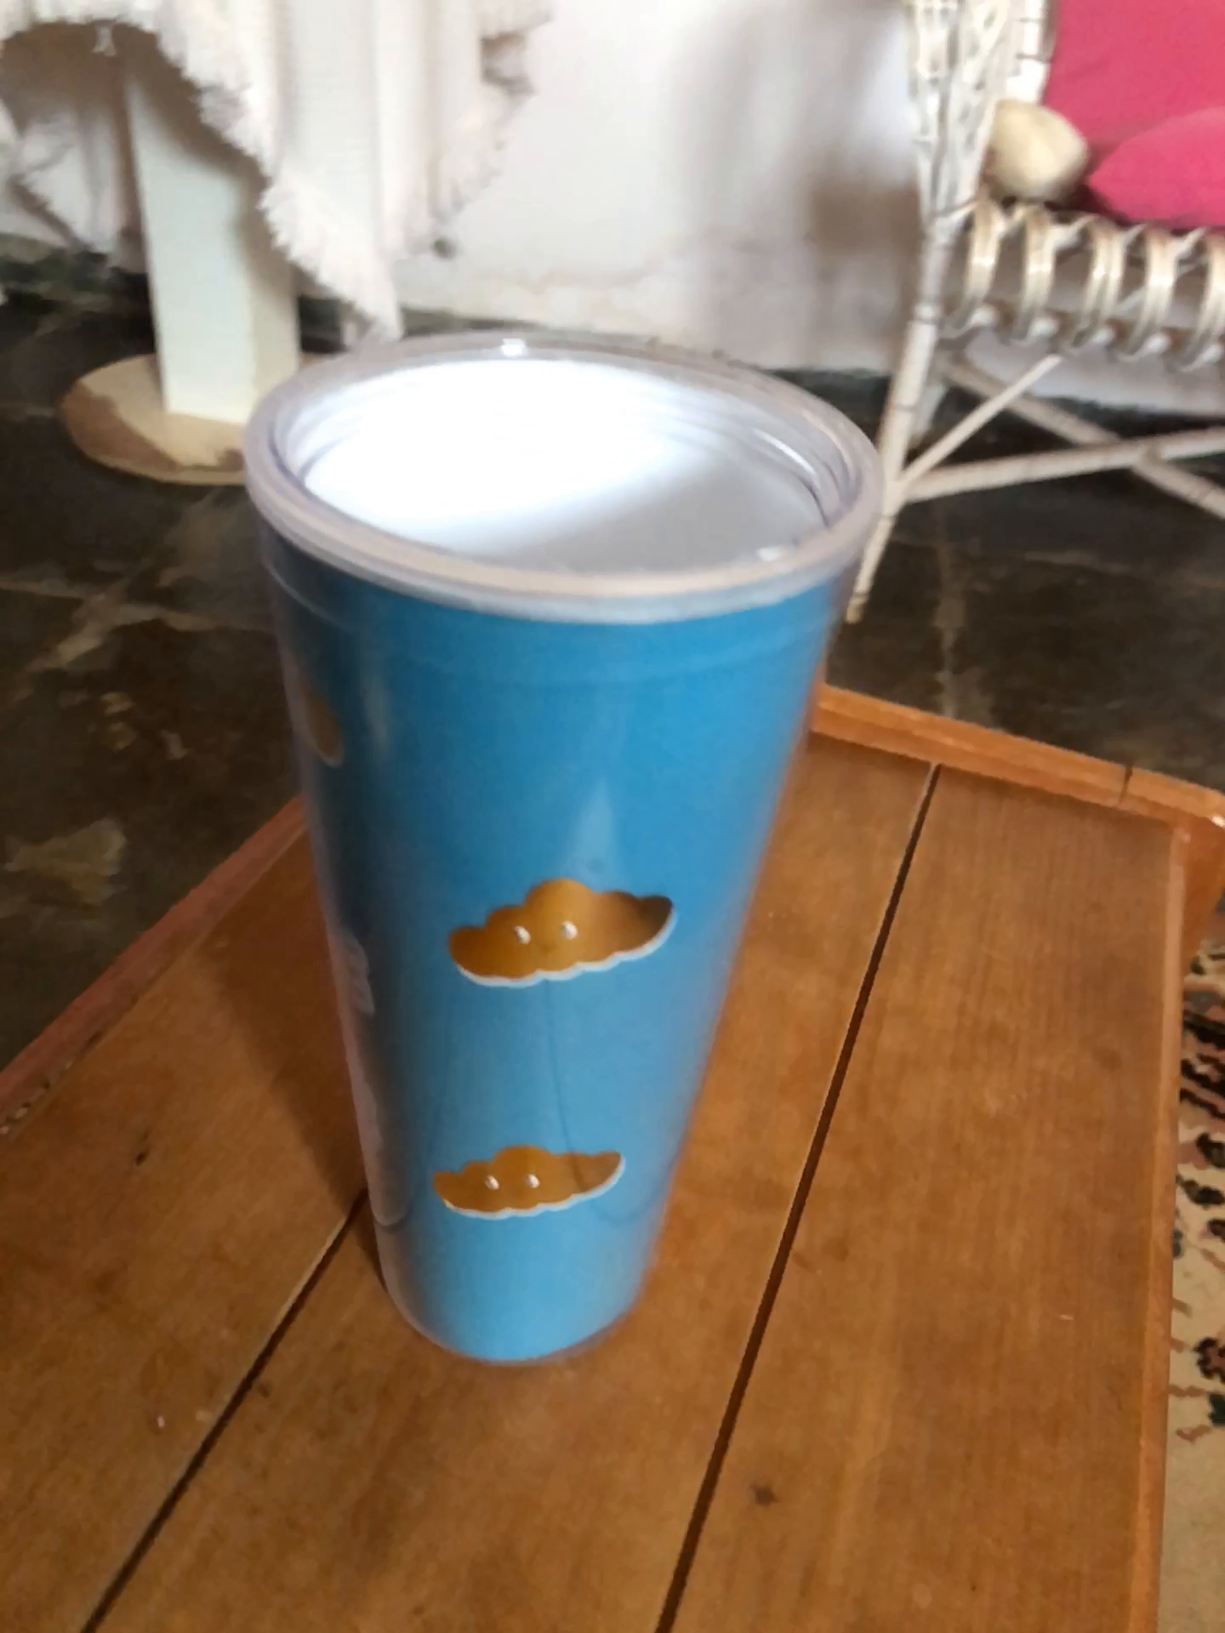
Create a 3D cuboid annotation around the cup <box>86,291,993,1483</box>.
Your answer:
[{"bbox_3d":[-0.012,0.014,0.259,0.100,0.179,0.101,4,37,-3],"label":"cup"}]
